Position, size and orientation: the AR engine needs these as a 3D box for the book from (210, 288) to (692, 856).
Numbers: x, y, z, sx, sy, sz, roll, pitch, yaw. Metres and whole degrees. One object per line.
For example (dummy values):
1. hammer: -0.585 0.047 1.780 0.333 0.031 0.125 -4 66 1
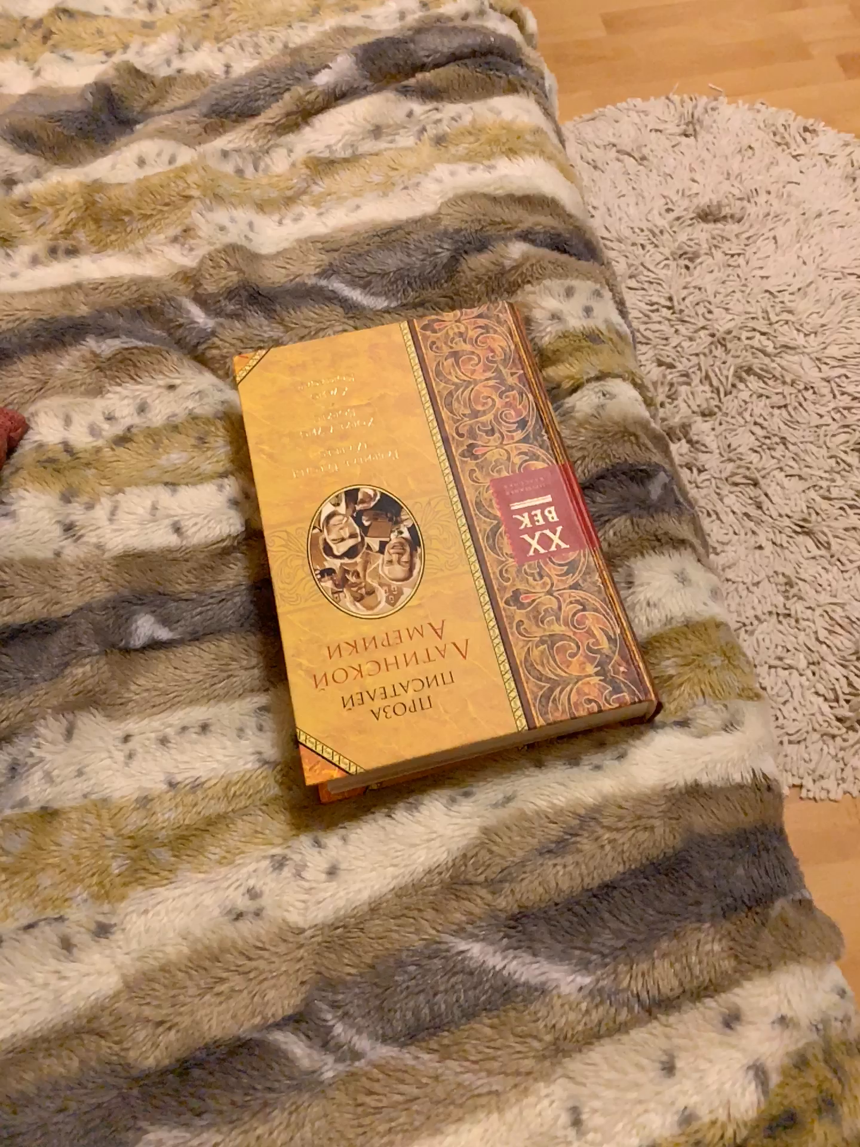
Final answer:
1. book: -0.003 -0.014 0.467 0.180 0.060 0.271 -13 63 -5
